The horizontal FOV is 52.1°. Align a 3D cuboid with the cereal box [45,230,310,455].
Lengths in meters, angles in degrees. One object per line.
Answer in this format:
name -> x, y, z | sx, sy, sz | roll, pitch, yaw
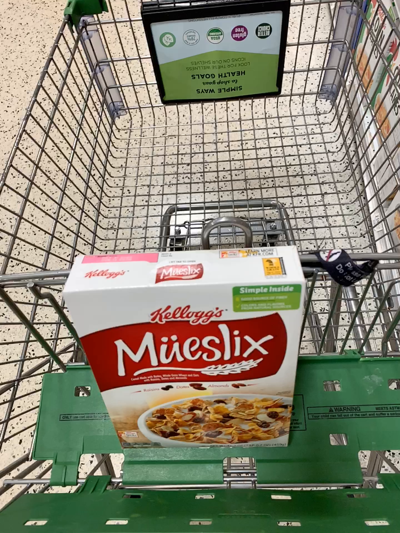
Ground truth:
cereal box -> -0.009, 0.096, 0.416 | 0.200, 0.268, 0.060 | -2, 39, 3
